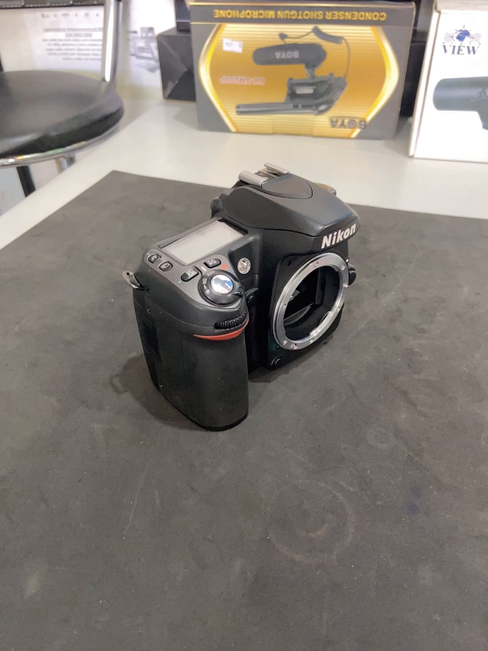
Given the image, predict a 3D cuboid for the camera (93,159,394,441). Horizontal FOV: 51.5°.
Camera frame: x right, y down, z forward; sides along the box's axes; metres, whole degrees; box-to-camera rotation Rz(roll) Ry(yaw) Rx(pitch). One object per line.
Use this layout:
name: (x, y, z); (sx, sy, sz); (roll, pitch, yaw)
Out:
camera: (0.004, -0.024, 0.289); (0.136, 0.088, 0.084); (-30, 46, -32)
